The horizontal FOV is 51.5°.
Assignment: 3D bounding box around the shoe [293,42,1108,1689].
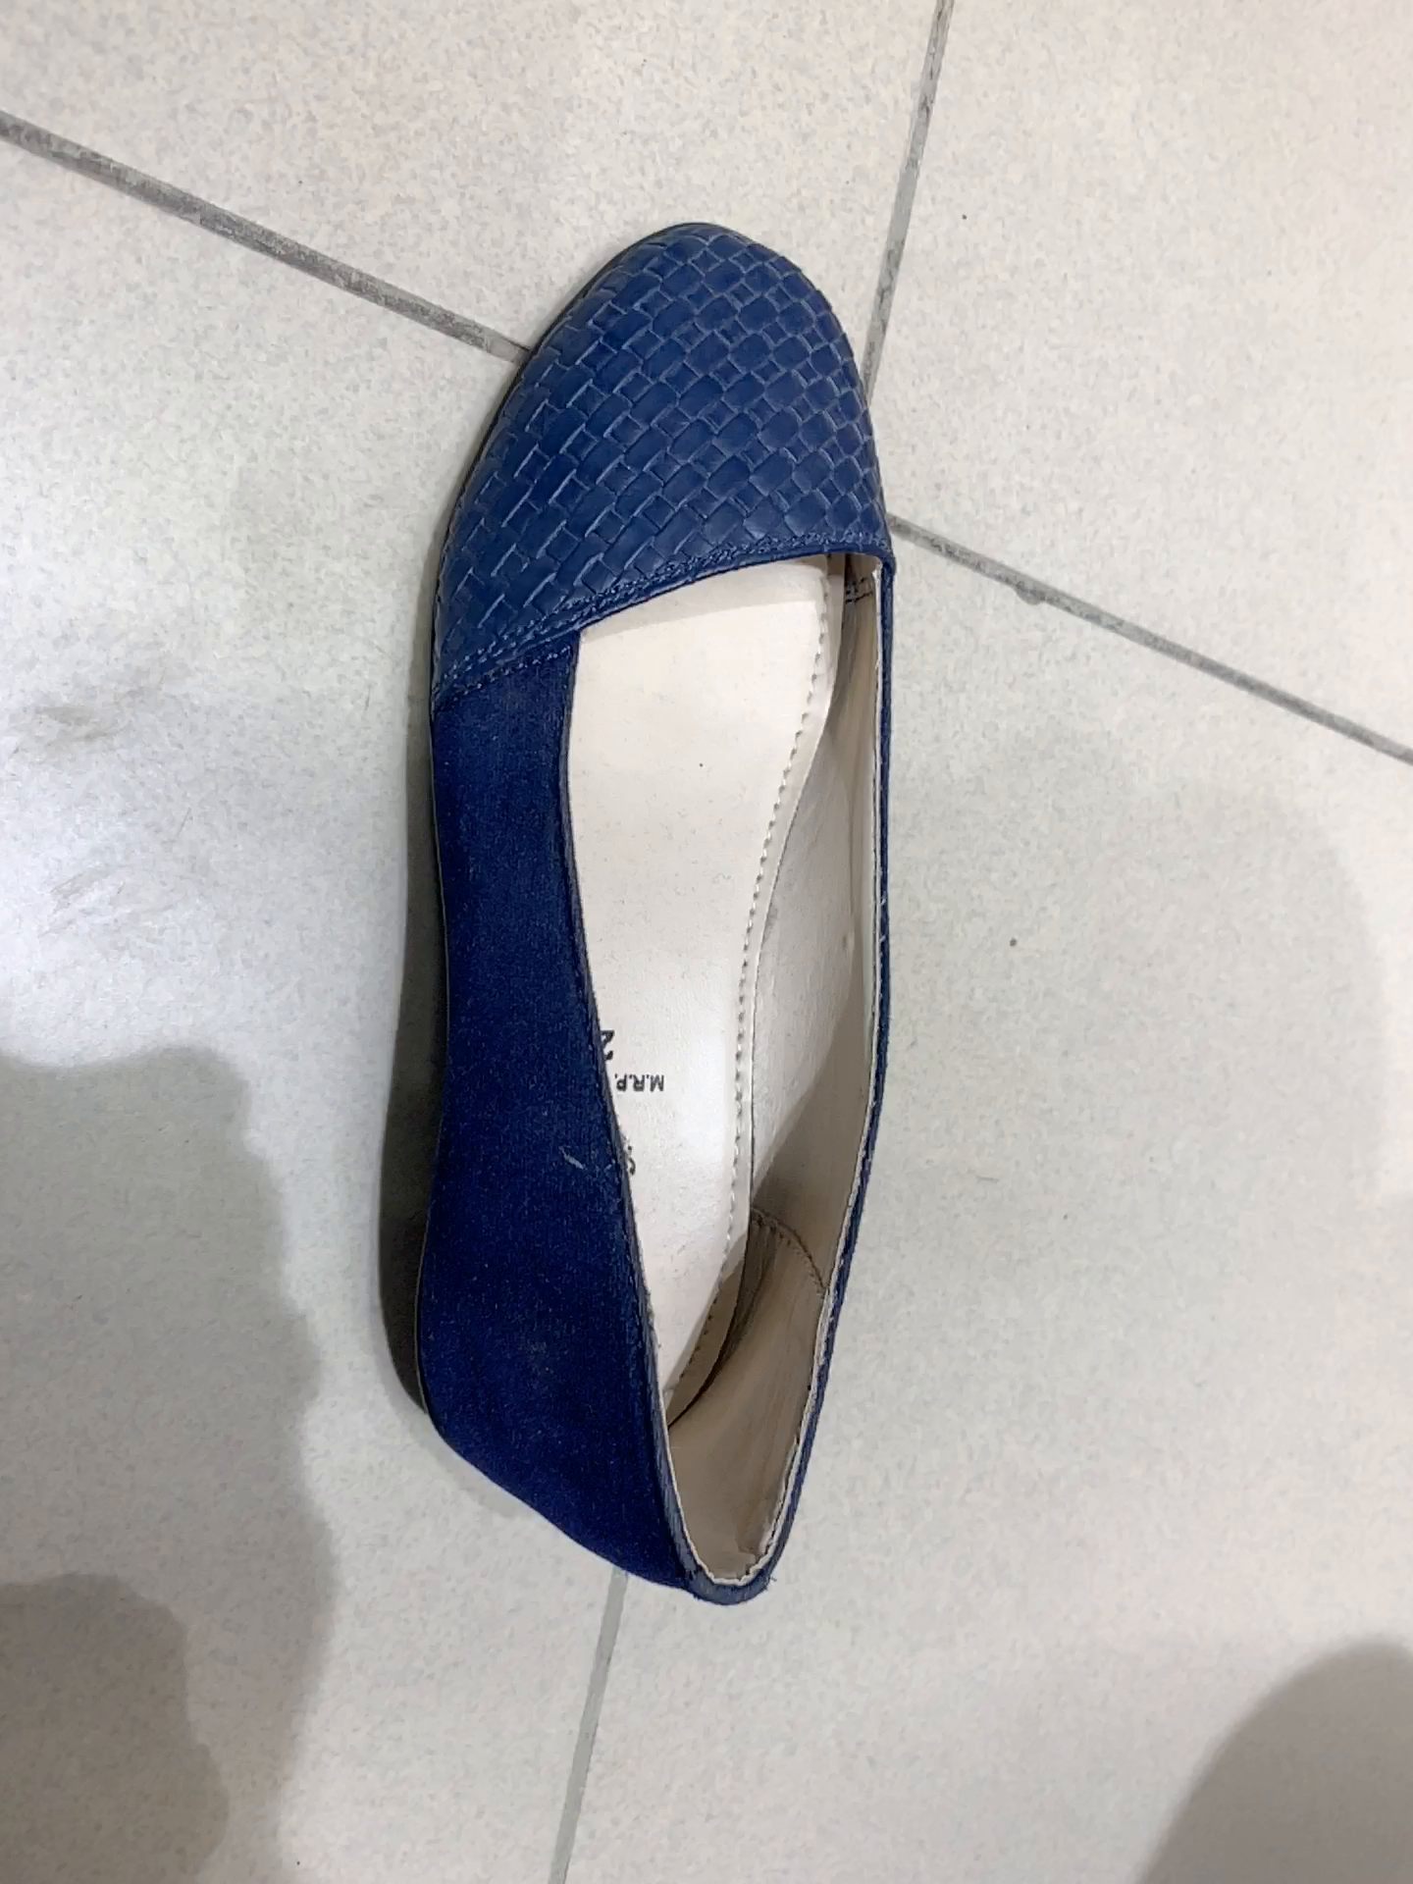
[{"bbox_3d":[-0.002,-0.007,0.243,0.090,0.060,0.220,7,91,-31],"label":"shoe"}]
